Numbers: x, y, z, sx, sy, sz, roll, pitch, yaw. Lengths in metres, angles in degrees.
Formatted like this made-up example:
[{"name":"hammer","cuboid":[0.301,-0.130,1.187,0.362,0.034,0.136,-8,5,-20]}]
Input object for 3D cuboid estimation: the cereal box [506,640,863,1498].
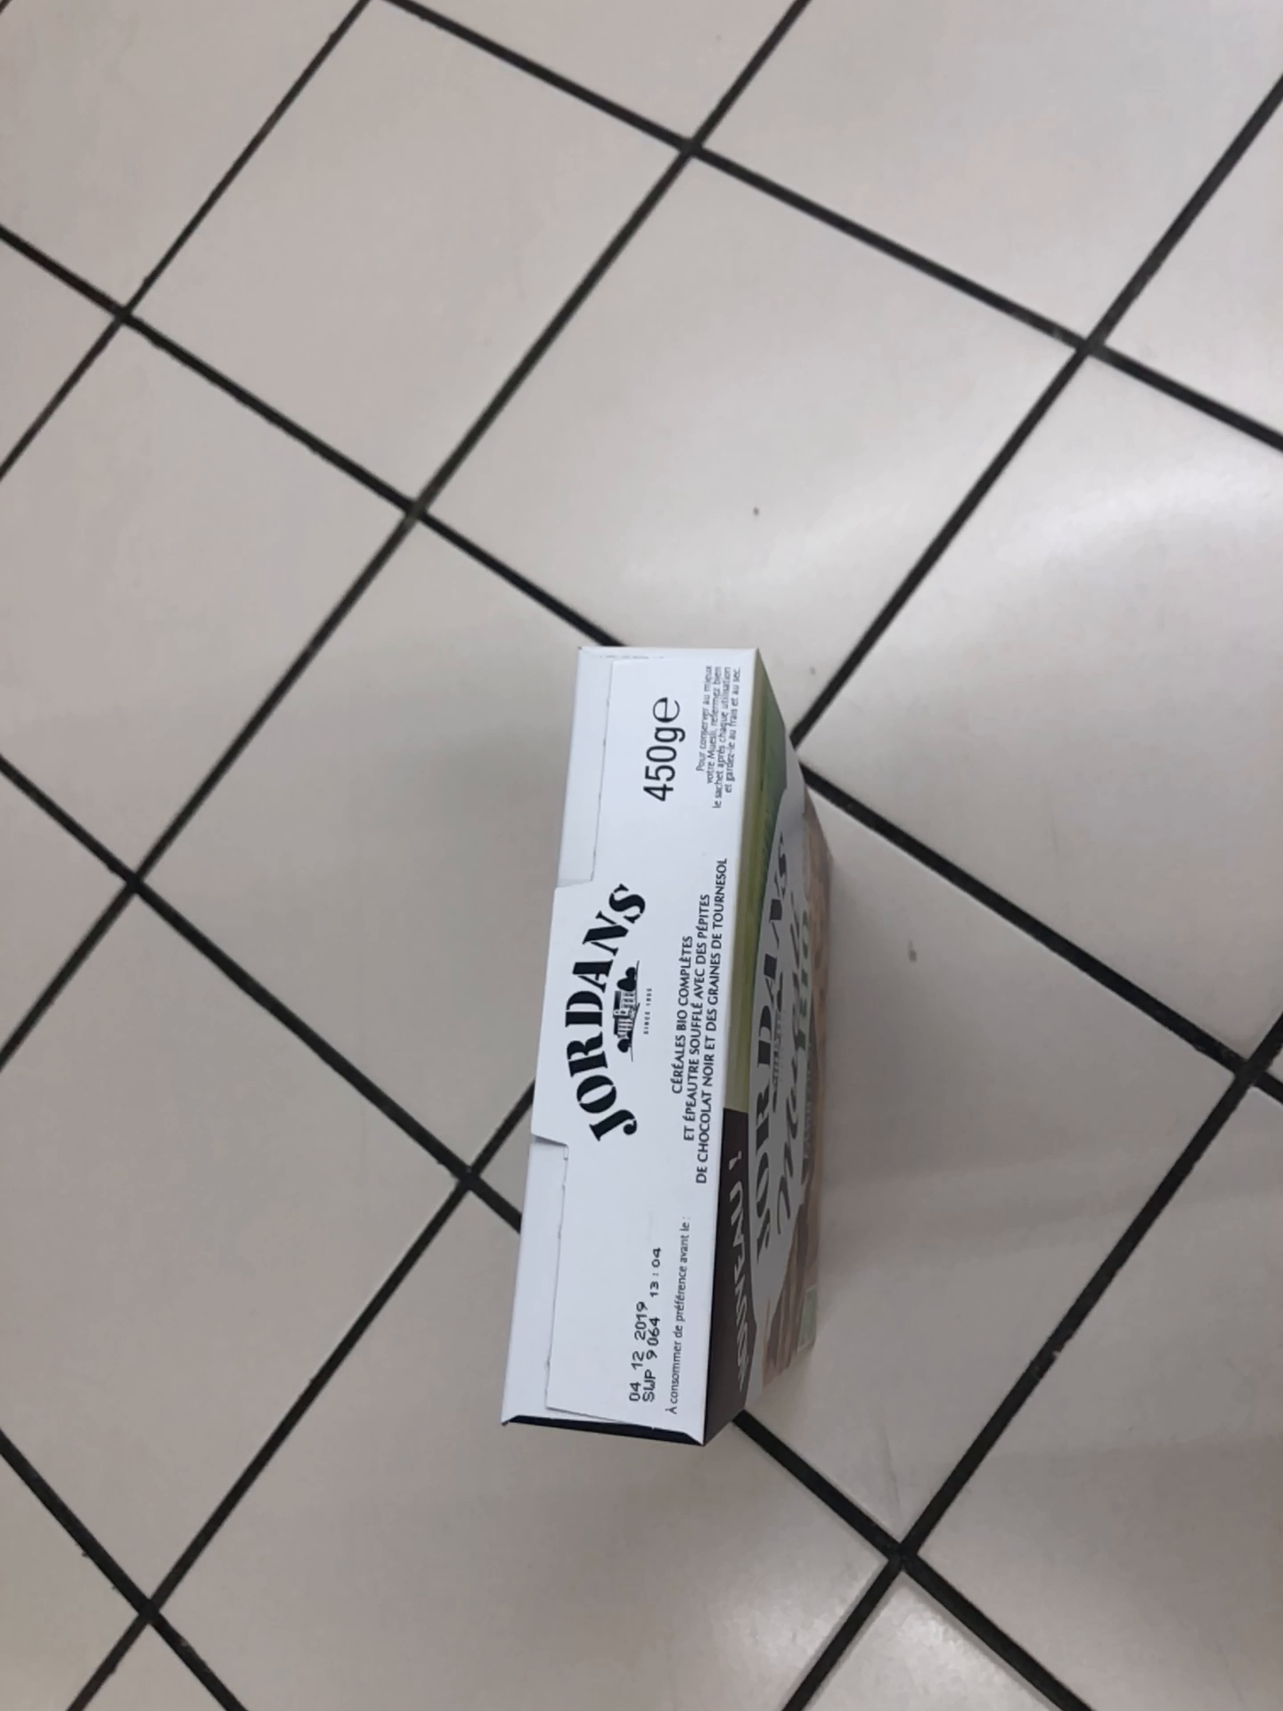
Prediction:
[{"name":"cereal box","cuboid":[0.027,0.065,0.422,0.050,0.210,0.190,1,77,15]}]
